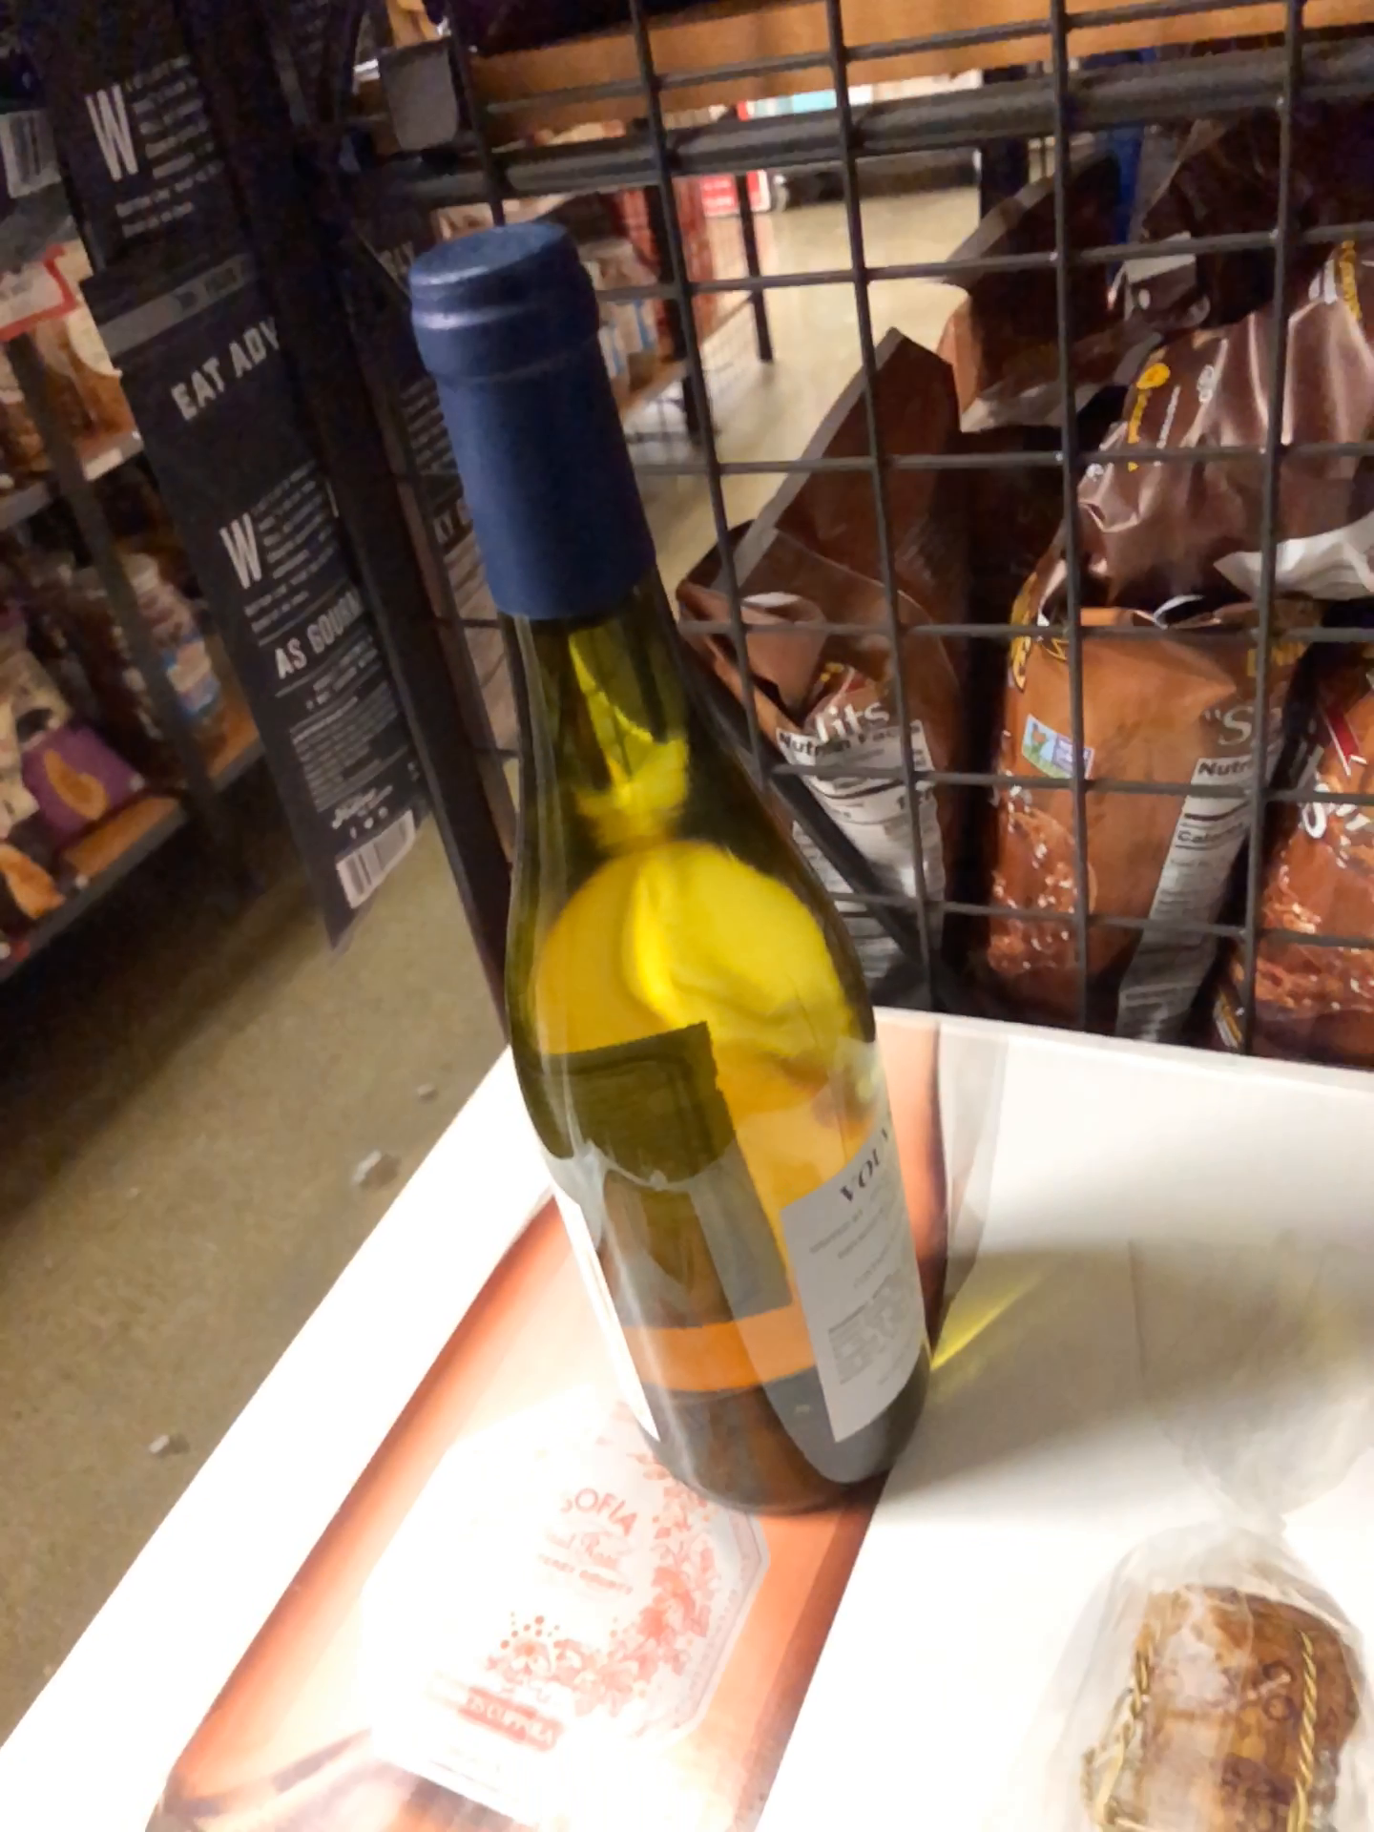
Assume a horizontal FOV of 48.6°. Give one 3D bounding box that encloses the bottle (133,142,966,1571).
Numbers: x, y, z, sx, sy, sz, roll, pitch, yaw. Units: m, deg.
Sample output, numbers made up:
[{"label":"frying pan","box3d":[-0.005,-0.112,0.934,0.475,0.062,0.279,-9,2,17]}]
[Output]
[{"label":"bottle","box3d":[-0.004,0.007,0.317,0.084,0.281,0.084,-8,35,6]}]
